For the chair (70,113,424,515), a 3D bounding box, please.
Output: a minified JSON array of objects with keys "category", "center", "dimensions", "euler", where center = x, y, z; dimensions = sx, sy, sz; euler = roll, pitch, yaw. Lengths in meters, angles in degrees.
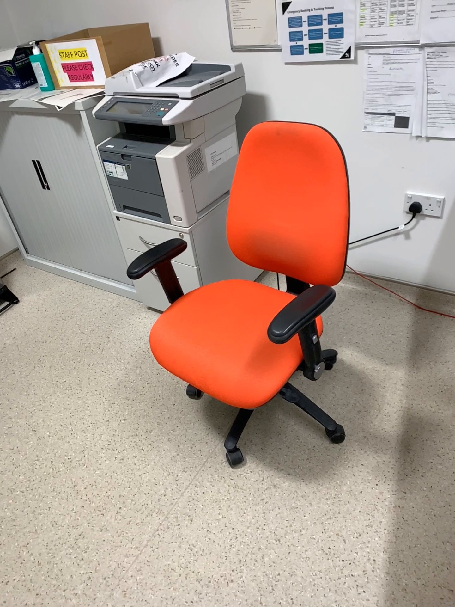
[{"category":"chair","center":[0.108,-0.018,1.481],"dimensions":[0.654,0.893,0.688],"euler":[23,47,36]}]
